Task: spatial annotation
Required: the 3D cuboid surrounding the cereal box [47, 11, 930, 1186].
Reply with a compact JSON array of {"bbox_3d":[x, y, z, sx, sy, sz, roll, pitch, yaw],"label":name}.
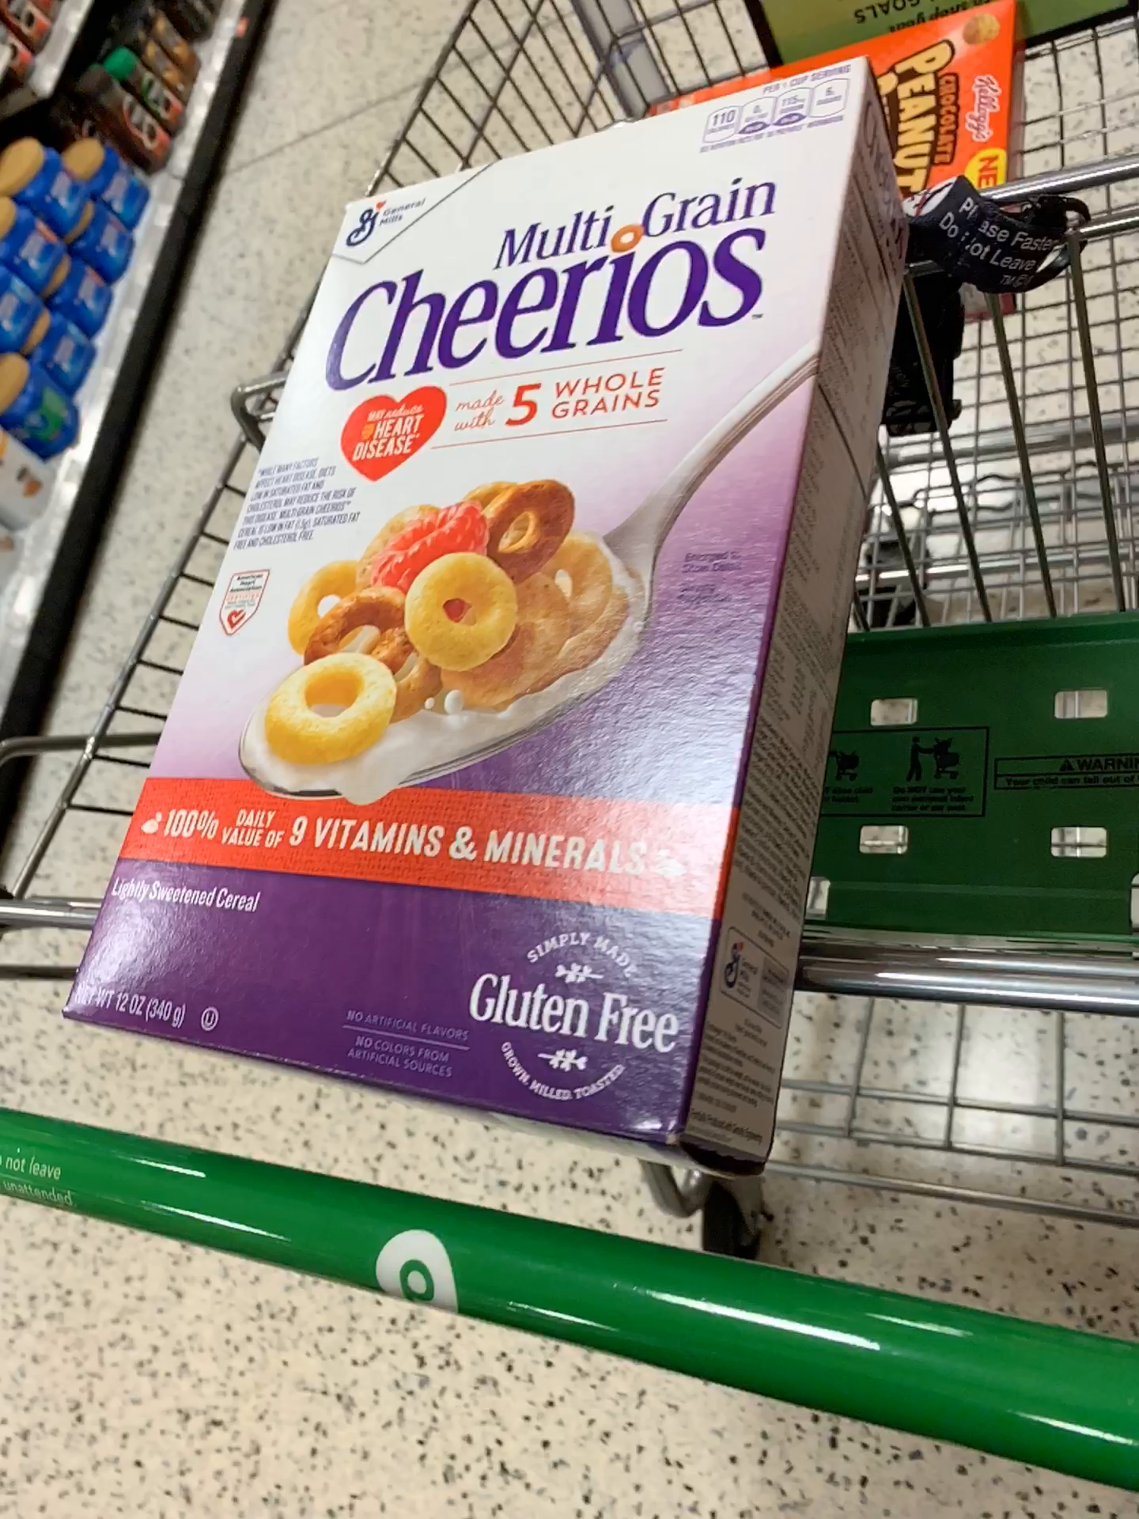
[{"bbox_3d":[-0.014,-0.058,0.367,0.200,0.070,0.321,1,68,30],"label":"cereal box"}]
